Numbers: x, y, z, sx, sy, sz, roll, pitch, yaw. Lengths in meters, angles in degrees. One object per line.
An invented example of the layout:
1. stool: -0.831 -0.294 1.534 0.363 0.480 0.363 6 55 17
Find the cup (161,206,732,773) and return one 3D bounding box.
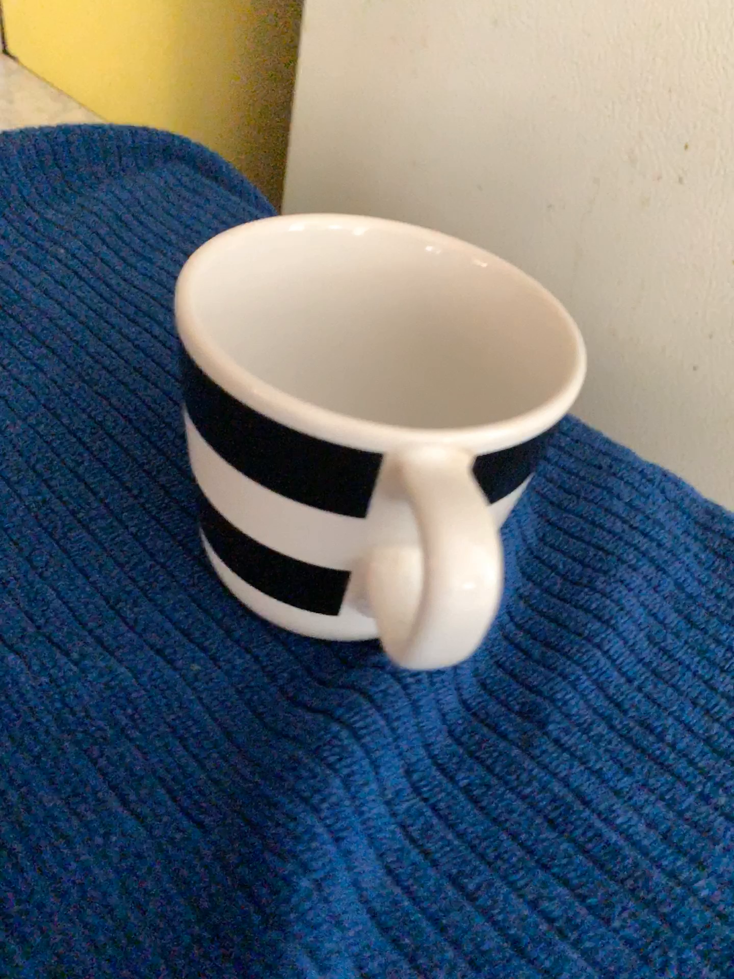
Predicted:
1. cup: 0.001 -0.011 0.170 0.085 0.057 0.113 -3 42 -15
